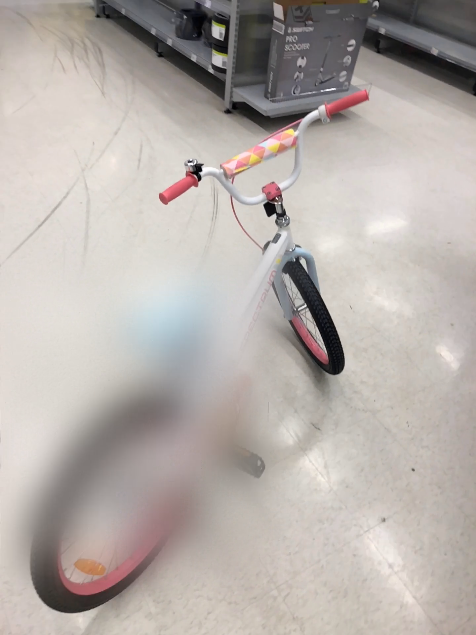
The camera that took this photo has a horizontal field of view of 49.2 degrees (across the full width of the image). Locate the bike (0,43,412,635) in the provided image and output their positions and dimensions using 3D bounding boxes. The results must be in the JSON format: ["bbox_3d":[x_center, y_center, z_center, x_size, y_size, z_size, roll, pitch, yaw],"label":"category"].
[{"bbox_3d":[-0.127,0.010,1.321,0.632,0.962,1.257,21,43,16],"label":"bike"}]
